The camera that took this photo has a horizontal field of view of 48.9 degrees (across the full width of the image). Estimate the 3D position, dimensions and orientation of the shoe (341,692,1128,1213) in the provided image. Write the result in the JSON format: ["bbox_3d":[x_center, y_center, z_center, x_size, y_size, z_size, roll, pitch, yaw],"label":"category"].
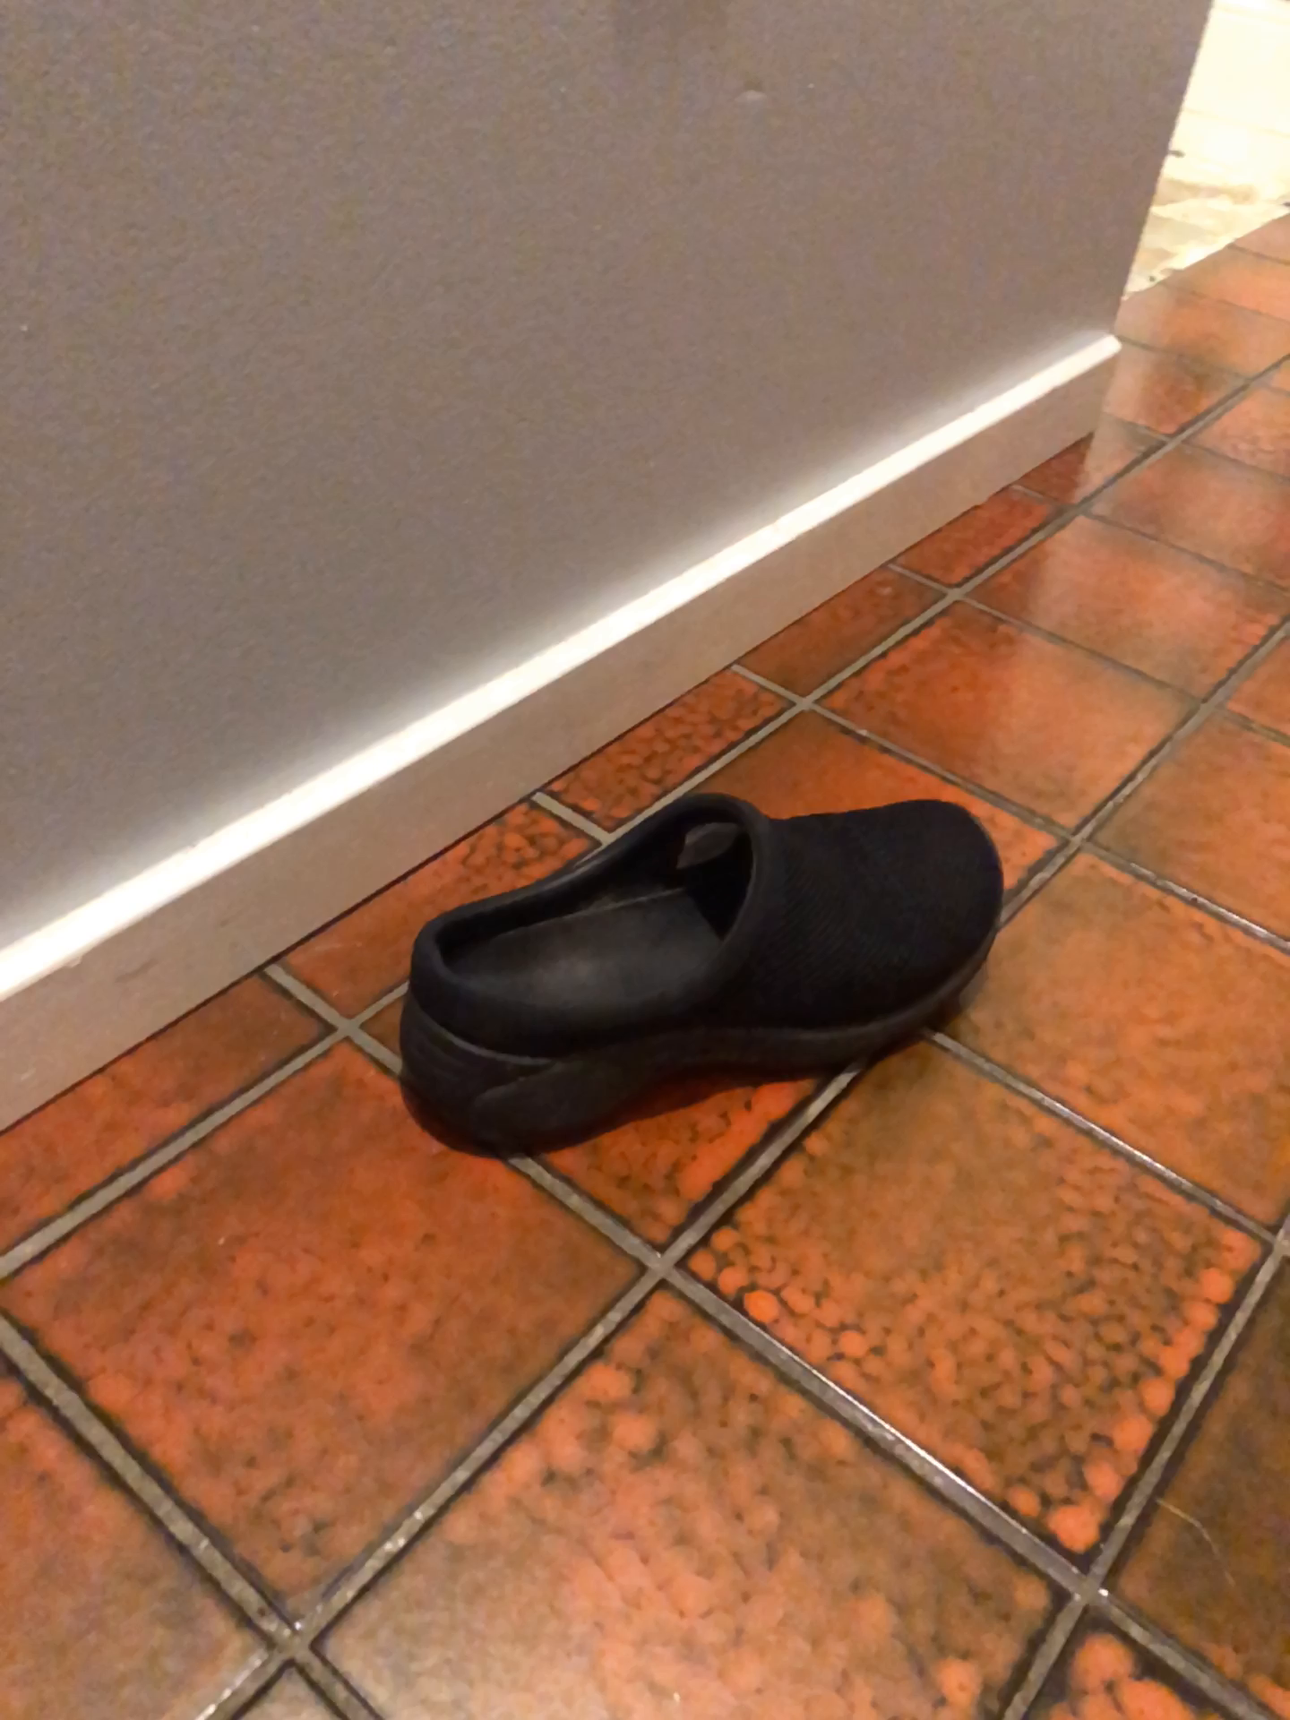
[{"bbox_3d":[0.031,0.023,0.505,0.250,0.080,0.100,-14,45,-23],"label":"shoe"}]
